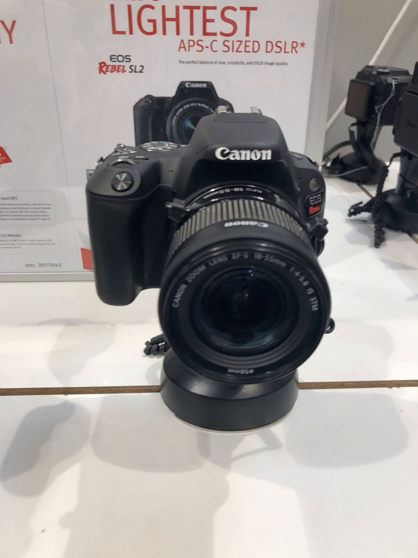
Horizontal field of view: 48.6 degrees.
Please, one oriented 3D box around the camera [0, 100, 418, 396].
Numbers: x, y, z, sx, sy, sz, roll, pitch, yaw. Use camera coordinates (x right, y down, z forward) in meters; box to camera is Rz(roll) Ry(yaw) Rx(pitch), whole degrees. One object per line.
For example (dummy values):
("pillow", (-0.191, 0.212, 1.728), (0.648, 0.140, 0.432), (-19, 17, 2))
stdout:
("camera", (-0.001, -0.024, 0.209), (0.130, 0.089, 0.121), (0, 29, -1))
